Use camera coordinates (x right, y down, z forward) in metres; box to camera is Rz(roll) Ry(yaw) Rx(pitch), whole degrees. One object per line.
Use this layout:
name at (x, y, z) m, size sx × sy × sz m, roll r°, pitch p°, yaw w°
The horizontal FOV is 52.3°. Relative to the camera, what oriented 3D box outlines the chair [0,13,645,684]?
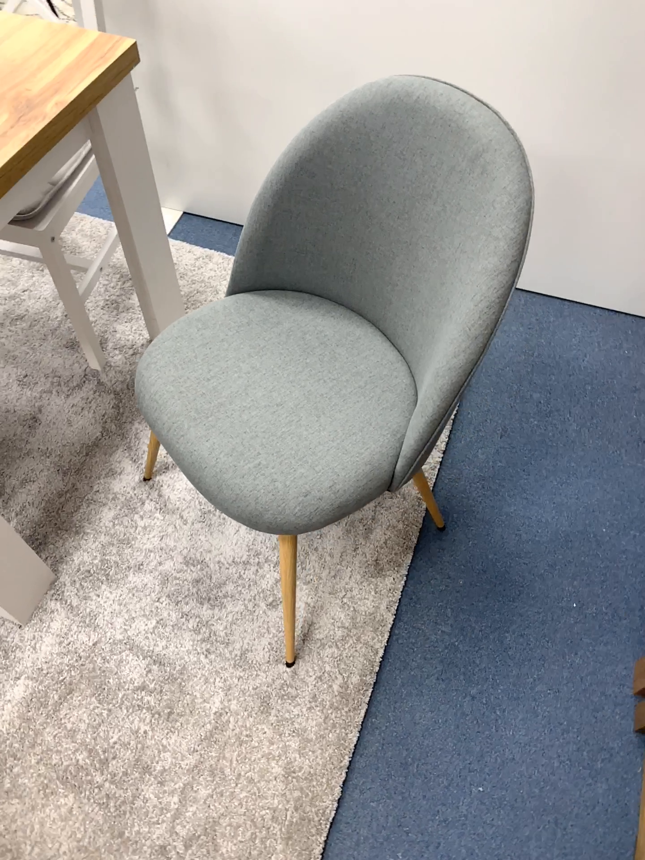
chair at (-0.019, -0.089, 1.054) m, size 0.571 × 0.738 × 0.531 m, roll -35°, pitch 63°, yaw -23°
